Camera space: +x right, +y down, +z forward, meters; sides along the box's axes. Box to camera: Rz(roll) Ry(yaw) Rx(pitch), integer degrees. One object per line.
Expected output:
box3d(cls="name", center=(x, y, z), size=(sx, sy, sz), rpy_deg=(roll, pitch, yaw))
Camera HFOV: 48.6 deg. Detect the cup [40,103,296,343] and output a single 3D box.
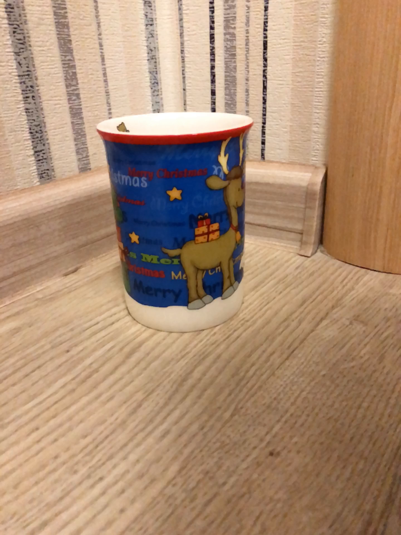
box3d(cls="cup", center=(-0.006, -0.038, 0.254), size=(0.087, 0.094, 0.121), rpy_deg=(9, 28, 24))
